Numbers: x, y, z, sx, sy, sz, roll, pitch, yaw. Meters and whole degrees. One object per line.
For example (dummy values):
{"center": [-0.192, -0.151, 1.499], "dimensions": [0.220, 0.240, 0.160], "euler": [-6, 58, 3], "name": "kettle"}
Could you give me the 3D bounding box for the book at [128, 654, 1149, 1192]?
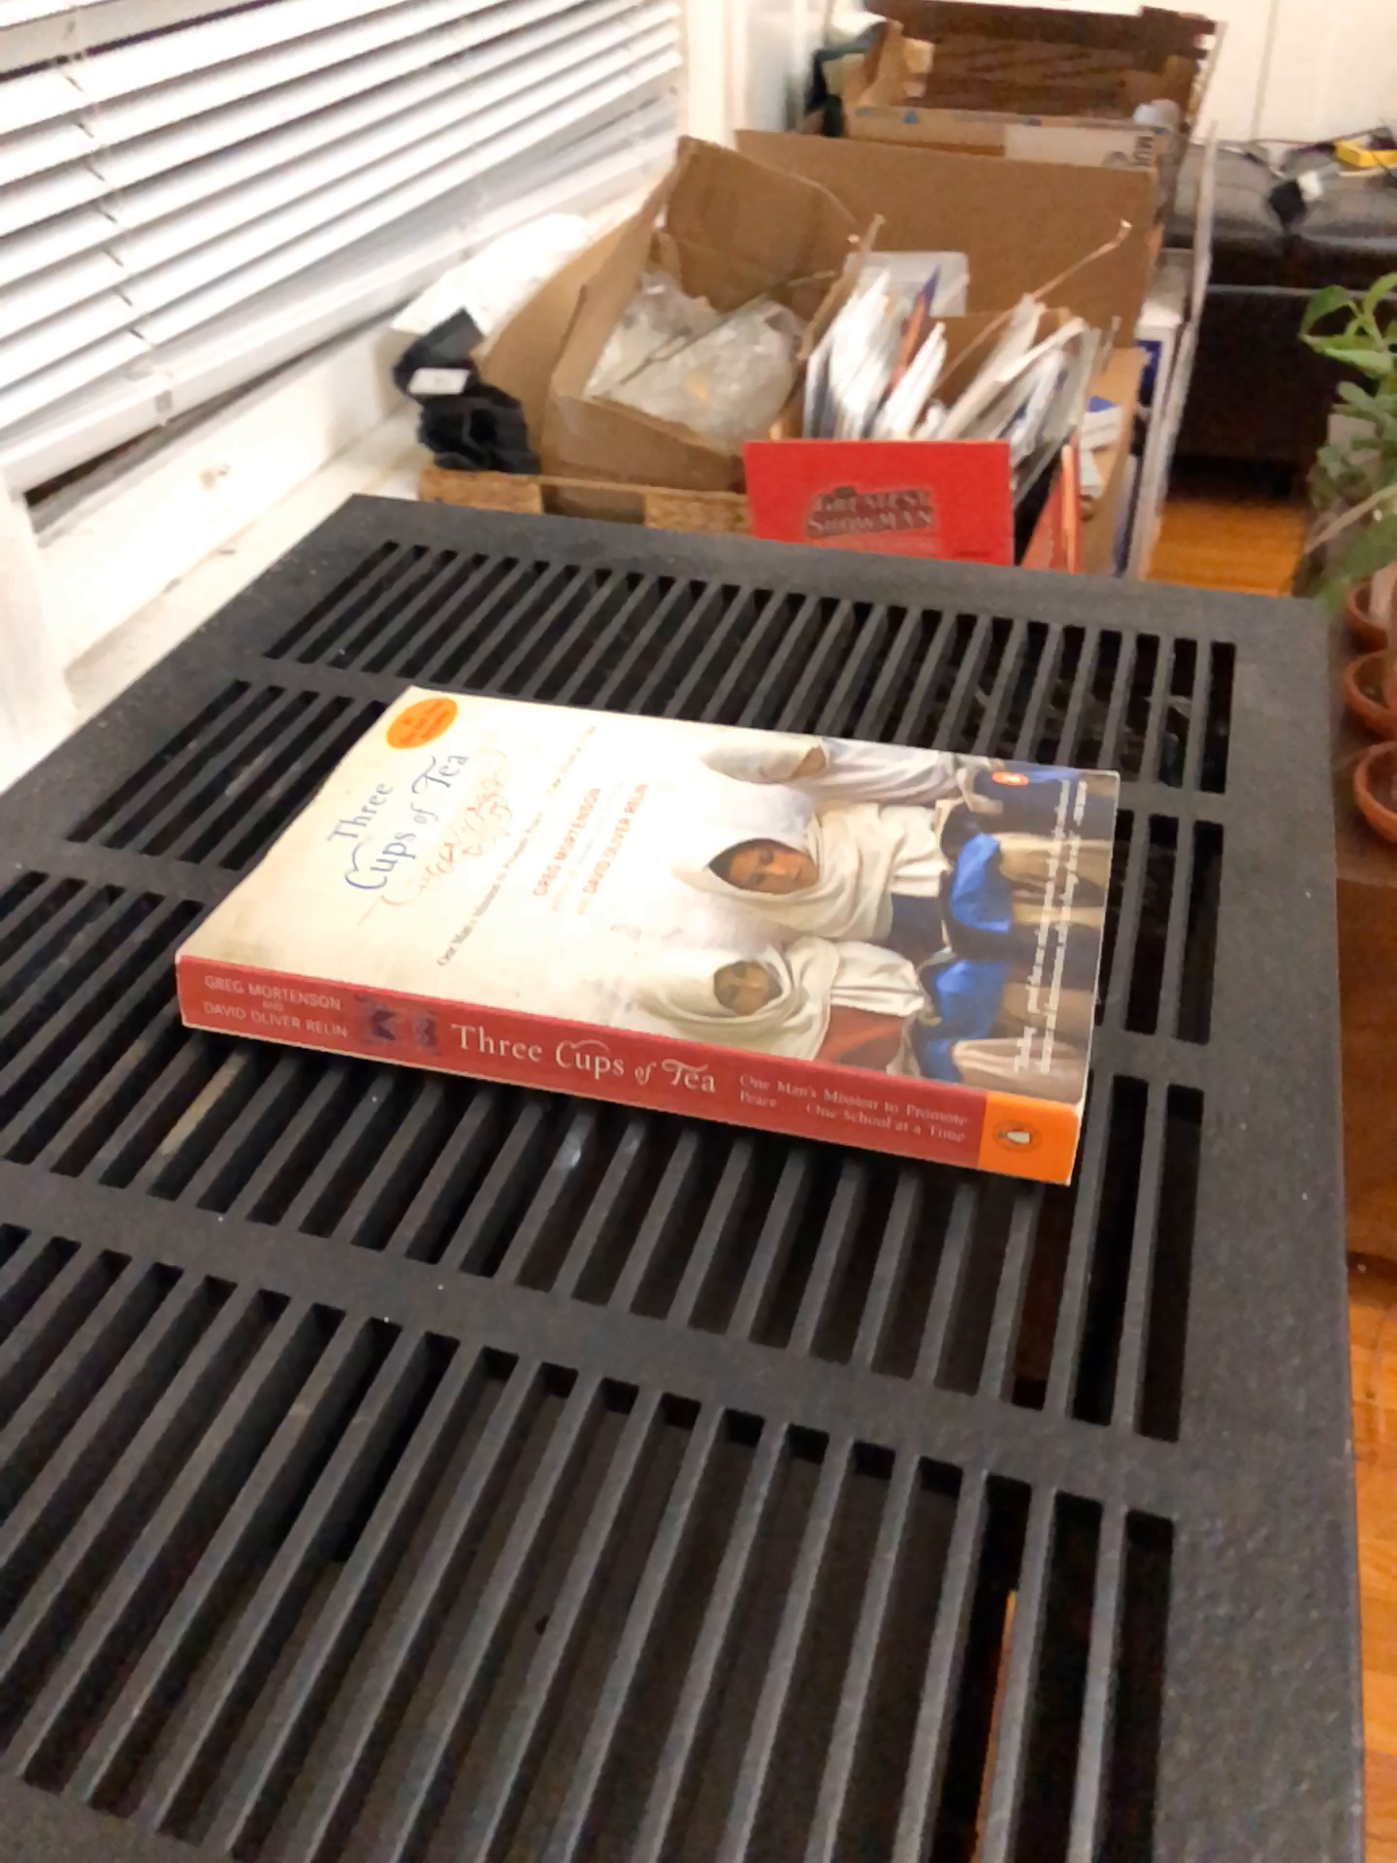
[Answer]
{"center": [-0.004, -0.014, 0.386], "dimensions": [0.220, 0.030, 0.141], "euler": [7, 39, 12], "name": "book"}
